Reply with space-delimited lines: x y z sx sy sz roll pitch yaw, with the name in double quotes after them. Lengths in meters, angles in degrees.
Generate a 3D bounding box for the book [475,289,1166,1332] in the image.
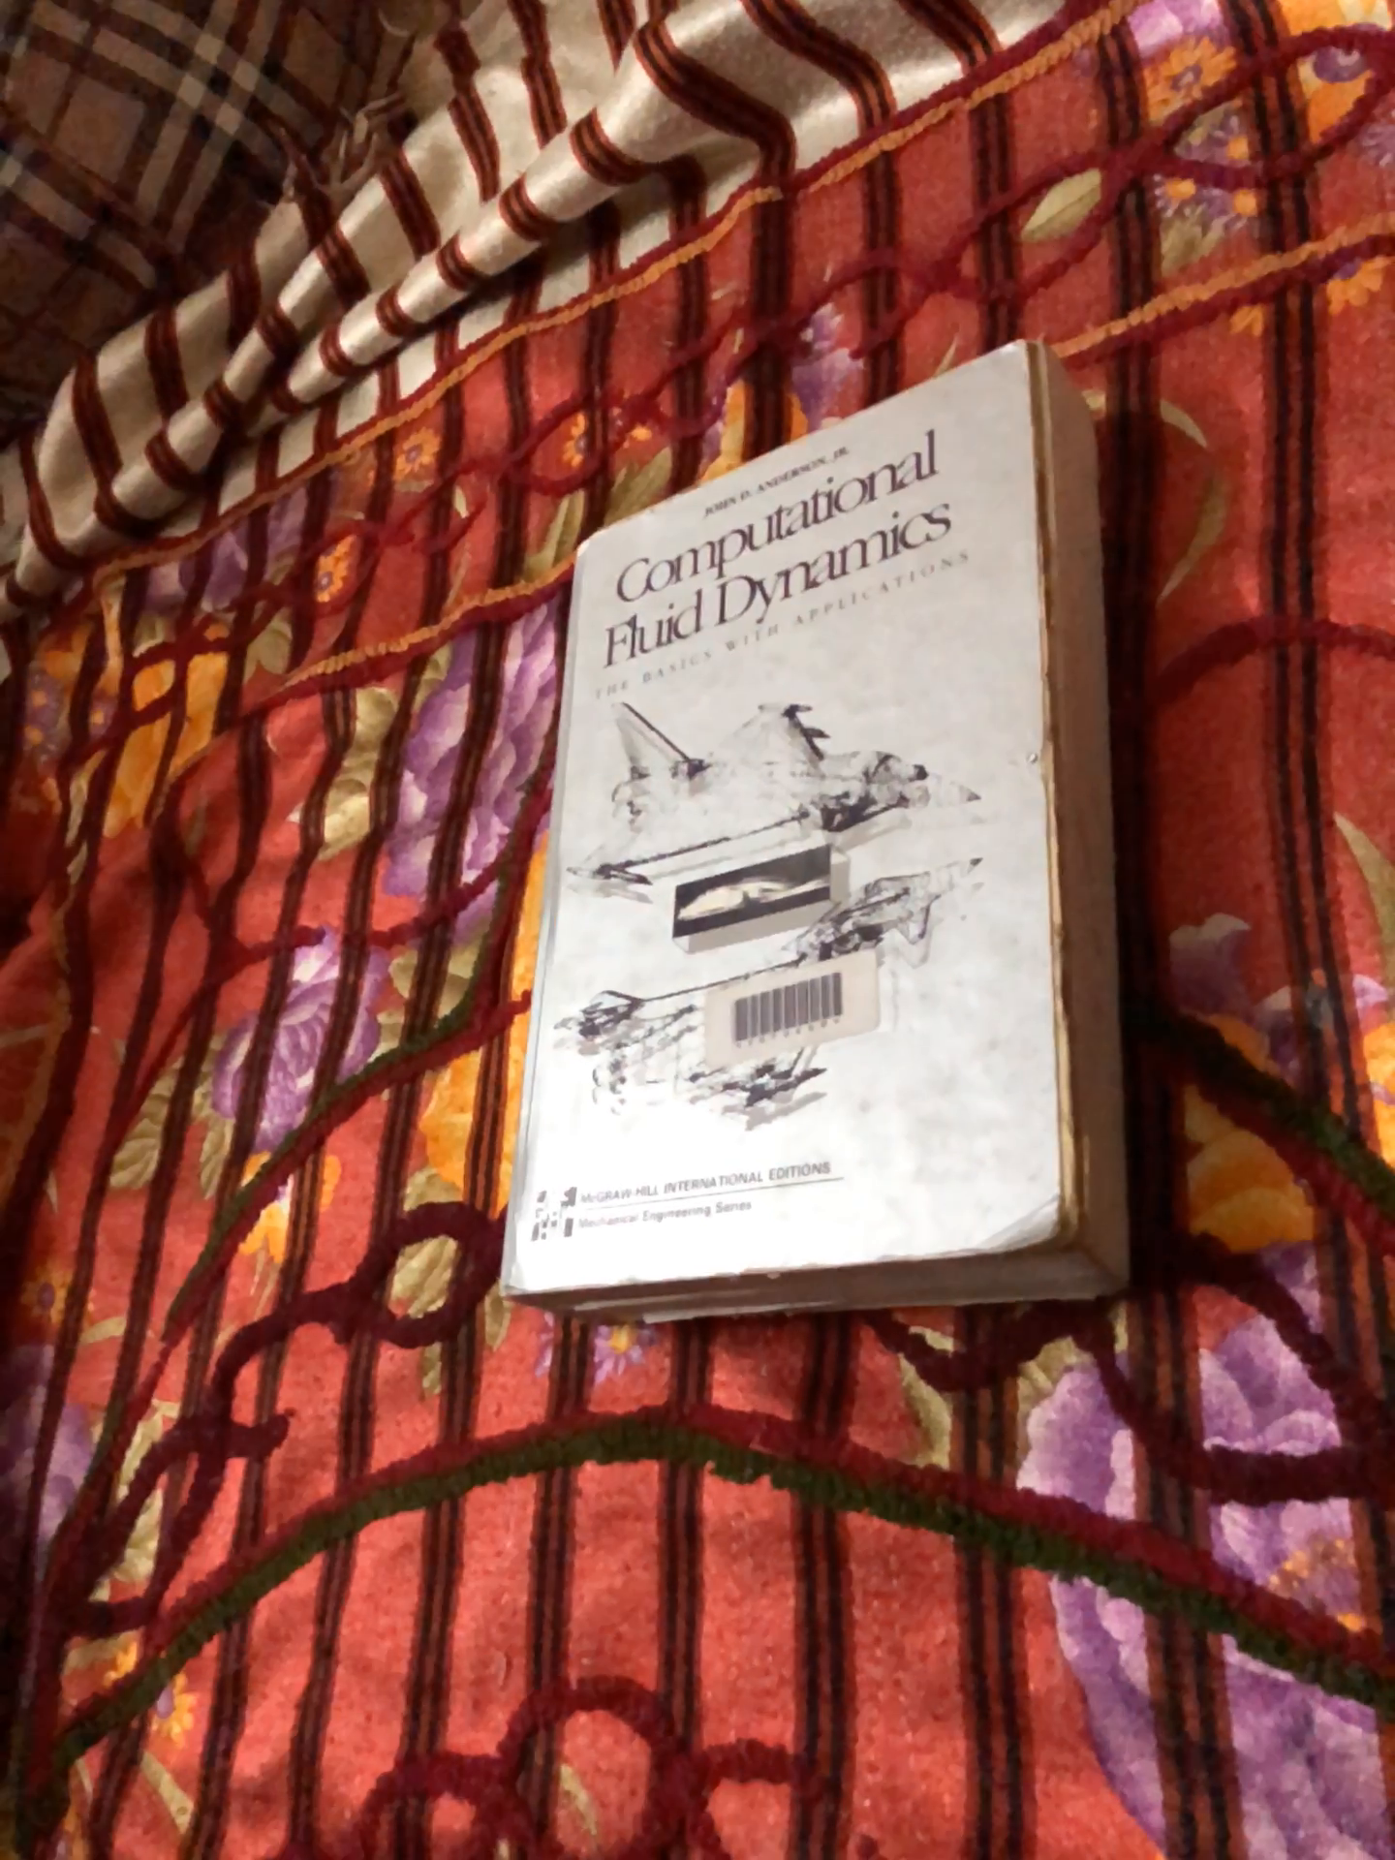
0.030 -0.026 0.422 0.161 0.060 0.250 -14 62 35 "book"
